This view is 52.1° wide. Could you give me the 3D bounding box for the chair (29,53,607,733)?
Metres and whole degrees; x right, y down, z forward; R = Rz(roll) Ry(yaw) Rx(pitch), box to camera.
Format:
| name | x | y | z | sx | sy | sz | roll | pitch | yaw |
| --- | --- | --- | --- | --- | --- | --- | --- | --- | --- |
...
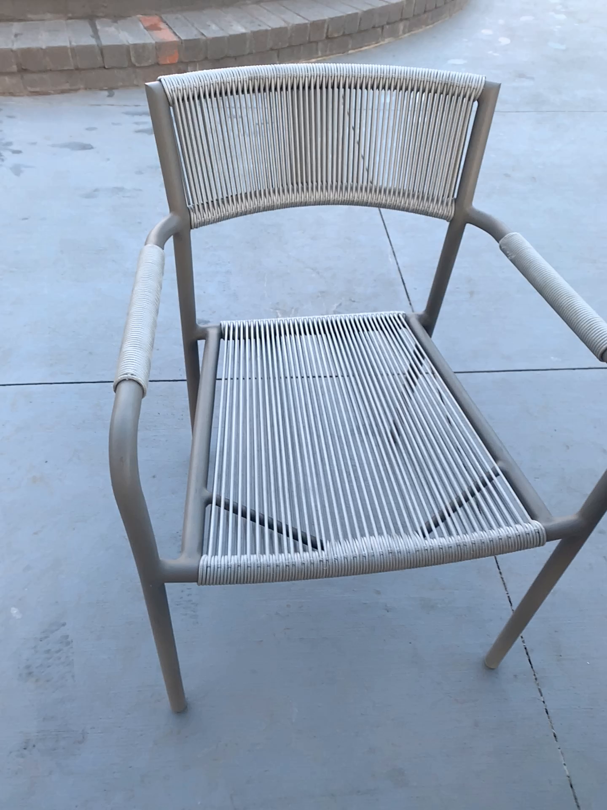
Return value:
| name | x | y | z | sx | sy | sz | roll | pitch | yaw |
| --- | --- | --- | --- | --- | --- | --- | --- | --- | --- |
| chair | 0.078 | -0.007 | 0.939 | 0.670 | 0.767 | 0.602 | -6 | 47 | -9 |
